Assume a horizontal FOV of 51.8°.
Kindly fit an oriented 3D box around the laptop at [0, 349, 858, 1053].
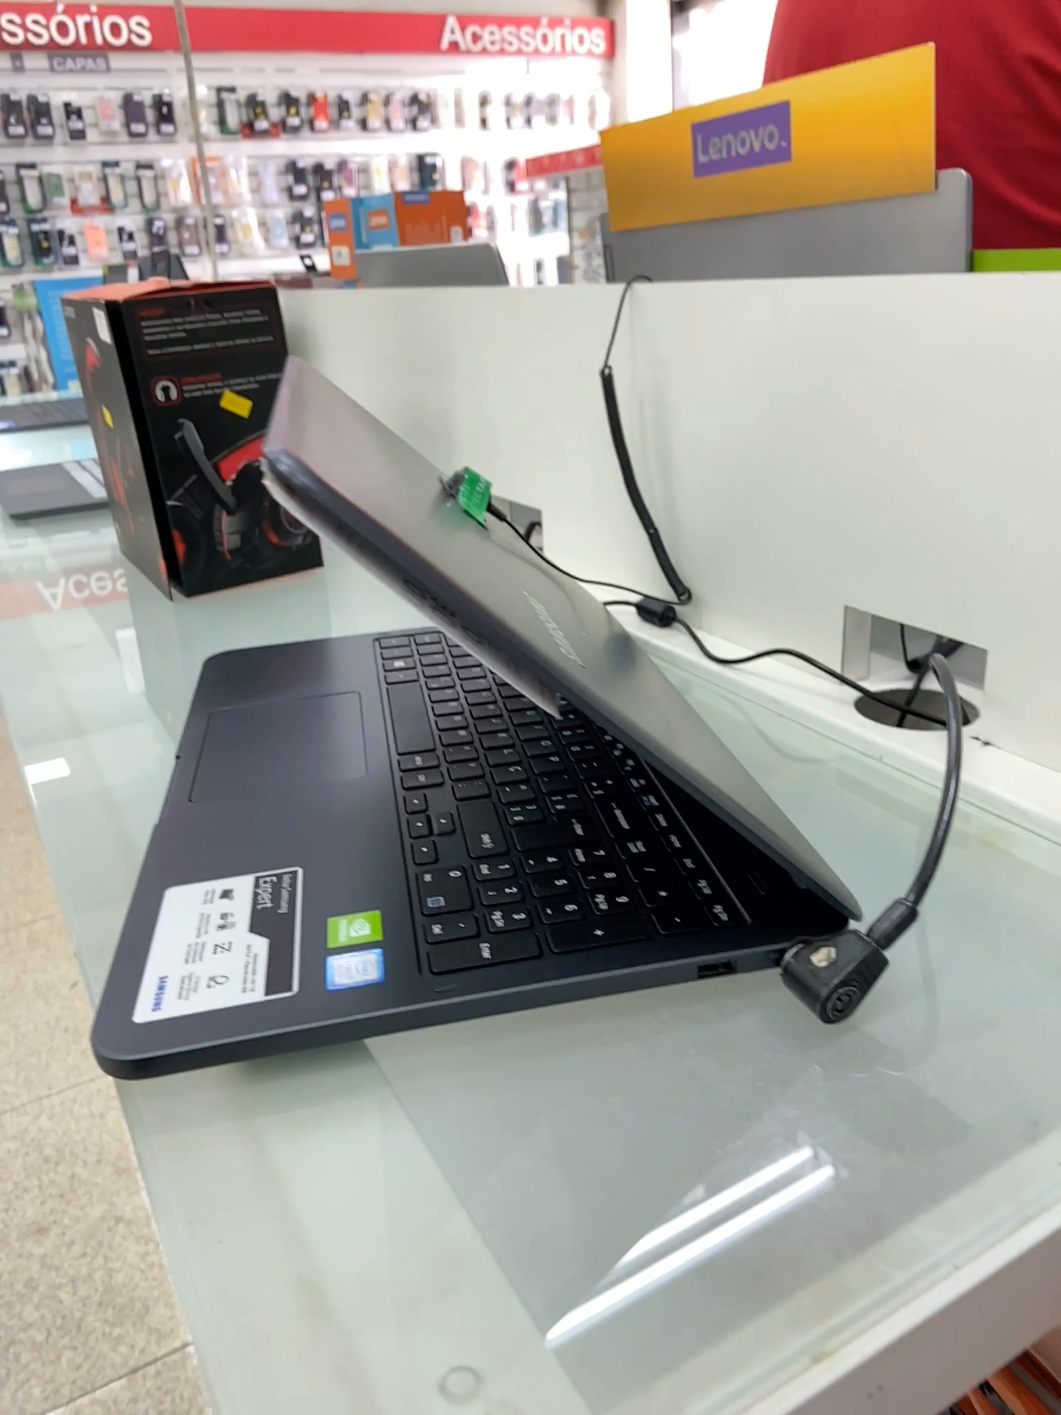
[{"bbox_3d":[-0.053,-0.051,0.476,0.231,0.158,0.359,-8,22,-8],"label":"laptop"}]
